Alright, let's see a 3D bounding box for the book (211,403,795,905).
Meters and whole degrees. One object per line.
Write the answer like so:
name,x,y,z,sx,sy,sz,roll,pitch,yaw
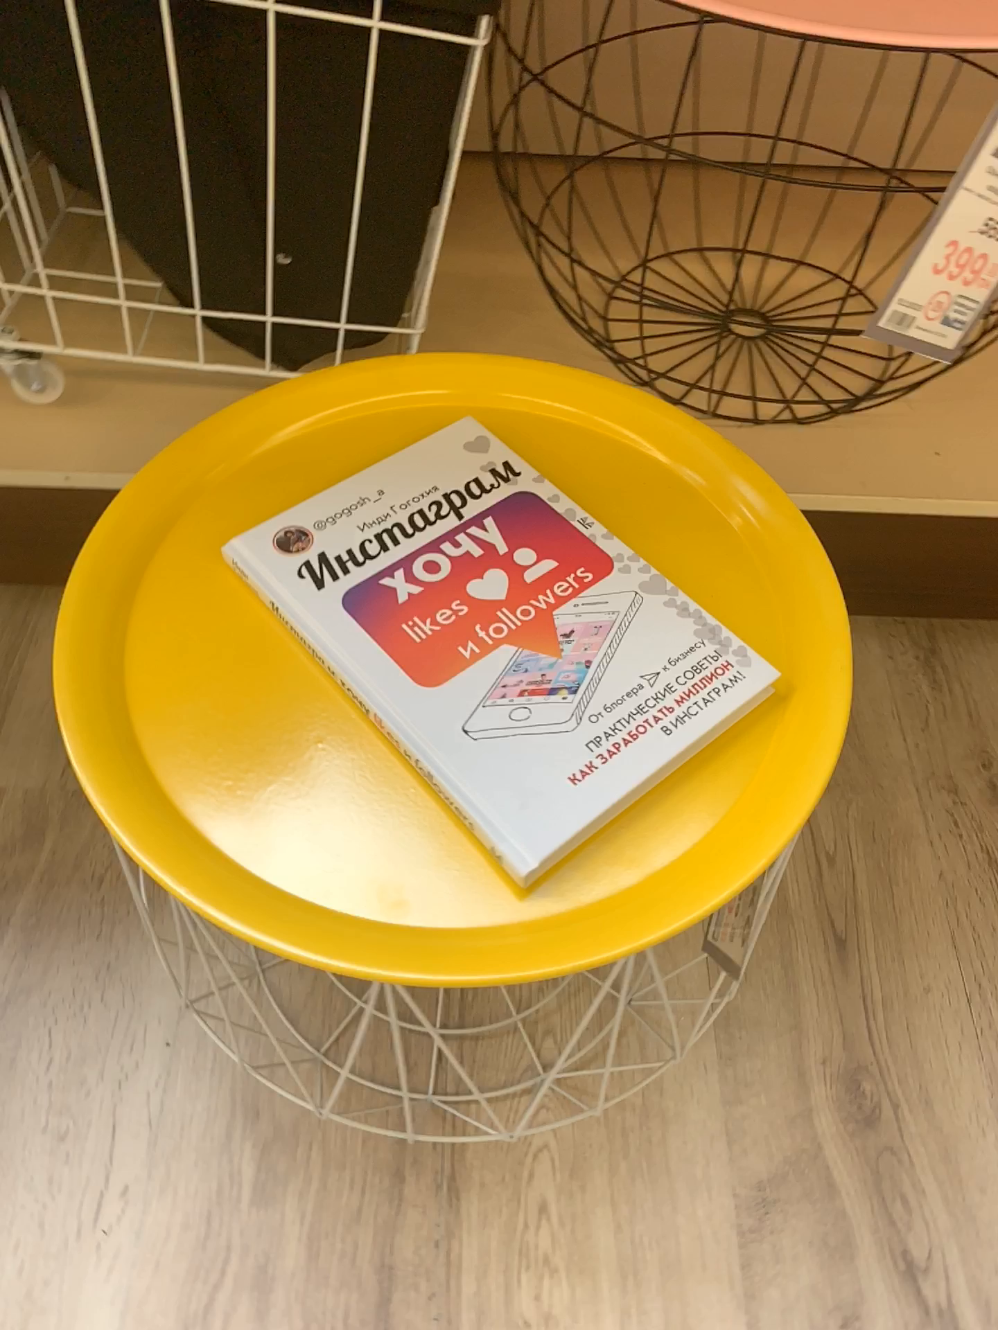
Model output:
book,-0.003,-0.024,0.508,0.170,0.020,0.240,-34,62,-24
